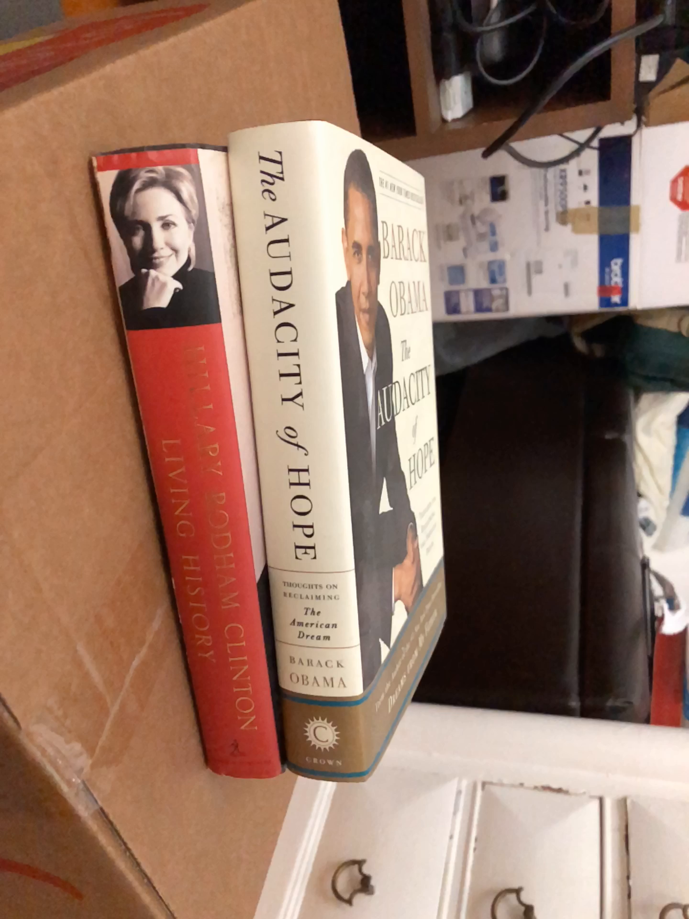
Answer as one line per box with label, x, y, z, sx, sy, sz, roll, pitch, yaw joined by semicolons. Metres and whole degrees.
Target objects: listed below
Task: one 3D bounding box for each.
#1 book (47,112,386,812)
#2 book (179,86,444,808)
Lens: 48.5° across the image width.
book;-0.033;-0.009;0.340;0.171;0.040;0.250;-49;136;-64
book;0.004;-0.013;0.353;0.191;0.040;0.250;-37;125;-68
